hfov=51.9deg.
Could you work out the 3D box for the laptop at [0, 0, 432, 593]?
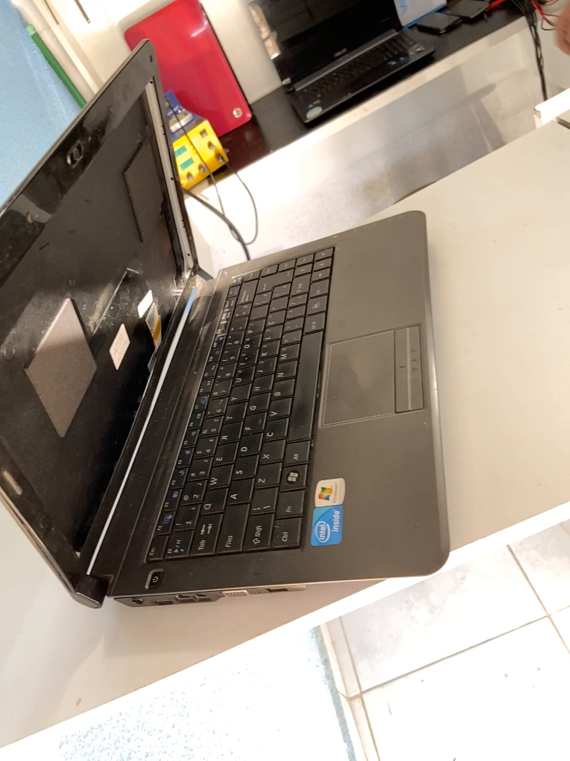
[{"bbox_3d":[-0.043,-0.072,0.385,0.206,0.206,0.332,-13,43,23],"label":"laptop"}]
